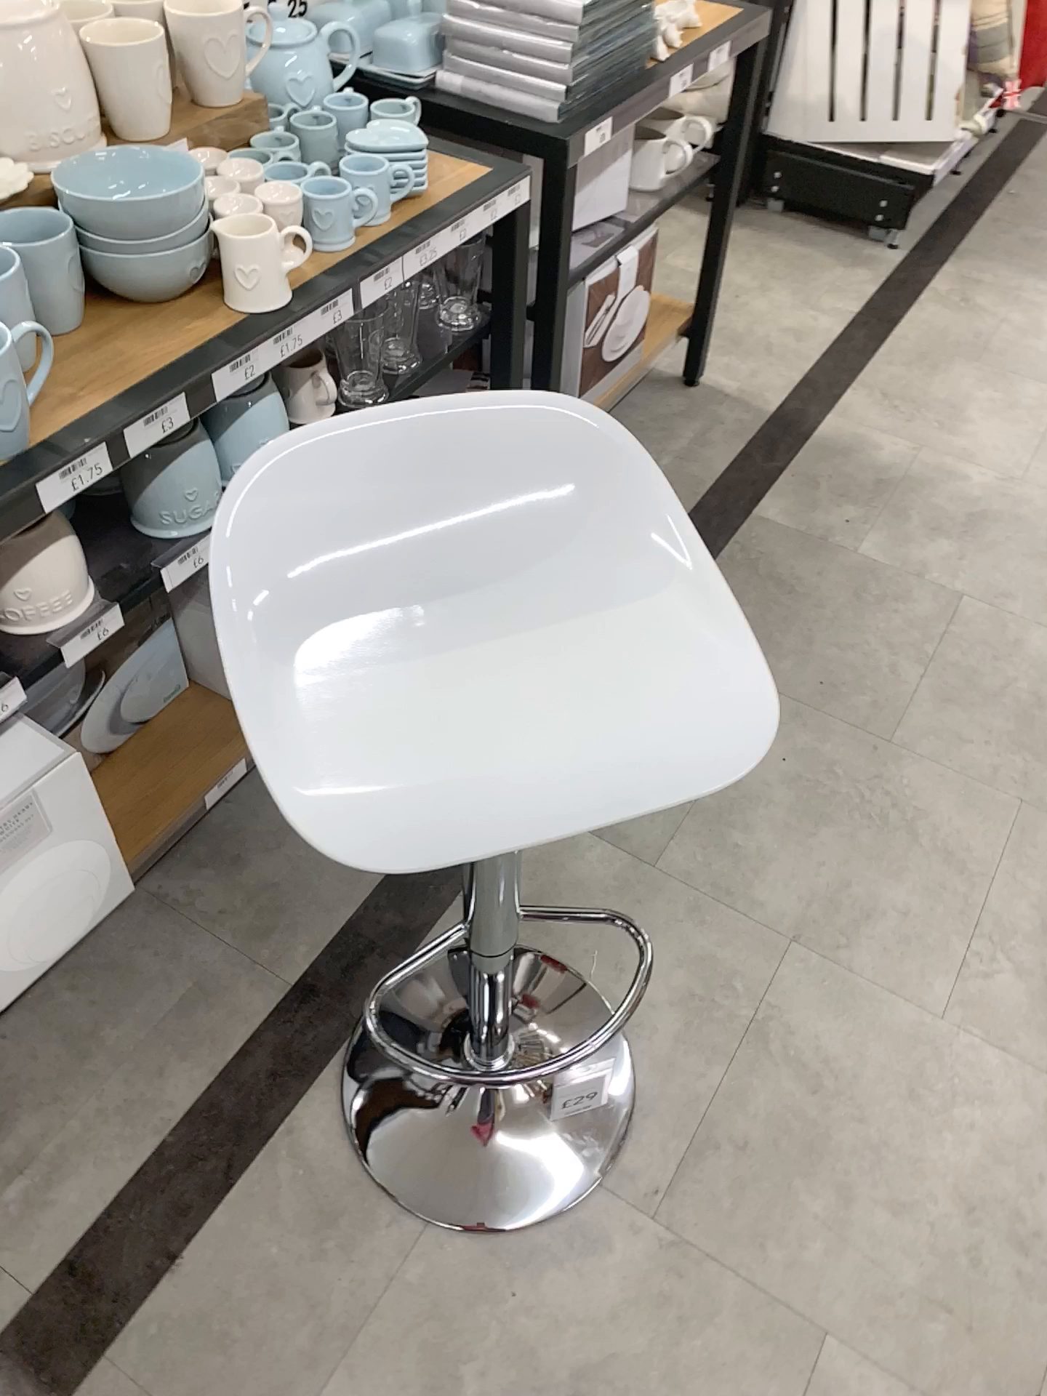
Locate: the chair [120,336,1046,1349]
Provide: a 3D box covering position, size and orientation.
[{"bbox_3d":[0.000,0.169,1.011,0.503,0.776,0.473,-15,50,-16],"label":"chair"}]
